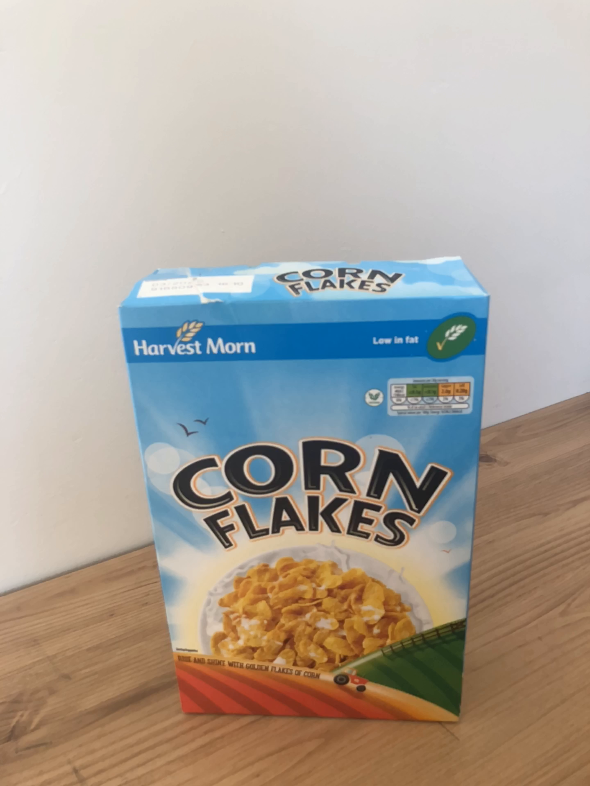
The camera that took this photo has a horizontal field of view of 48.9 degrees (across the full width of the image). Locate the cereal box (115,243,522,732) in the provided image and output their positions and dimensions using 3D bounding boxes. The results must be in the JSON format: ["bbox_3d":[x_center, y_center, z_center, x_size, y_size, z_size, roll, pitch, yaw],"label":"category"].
[{"bbox_3d":[0.018,0.069,0.417,0.200,0.308,0.080,0,24,5],"label":"cereal box"}]
